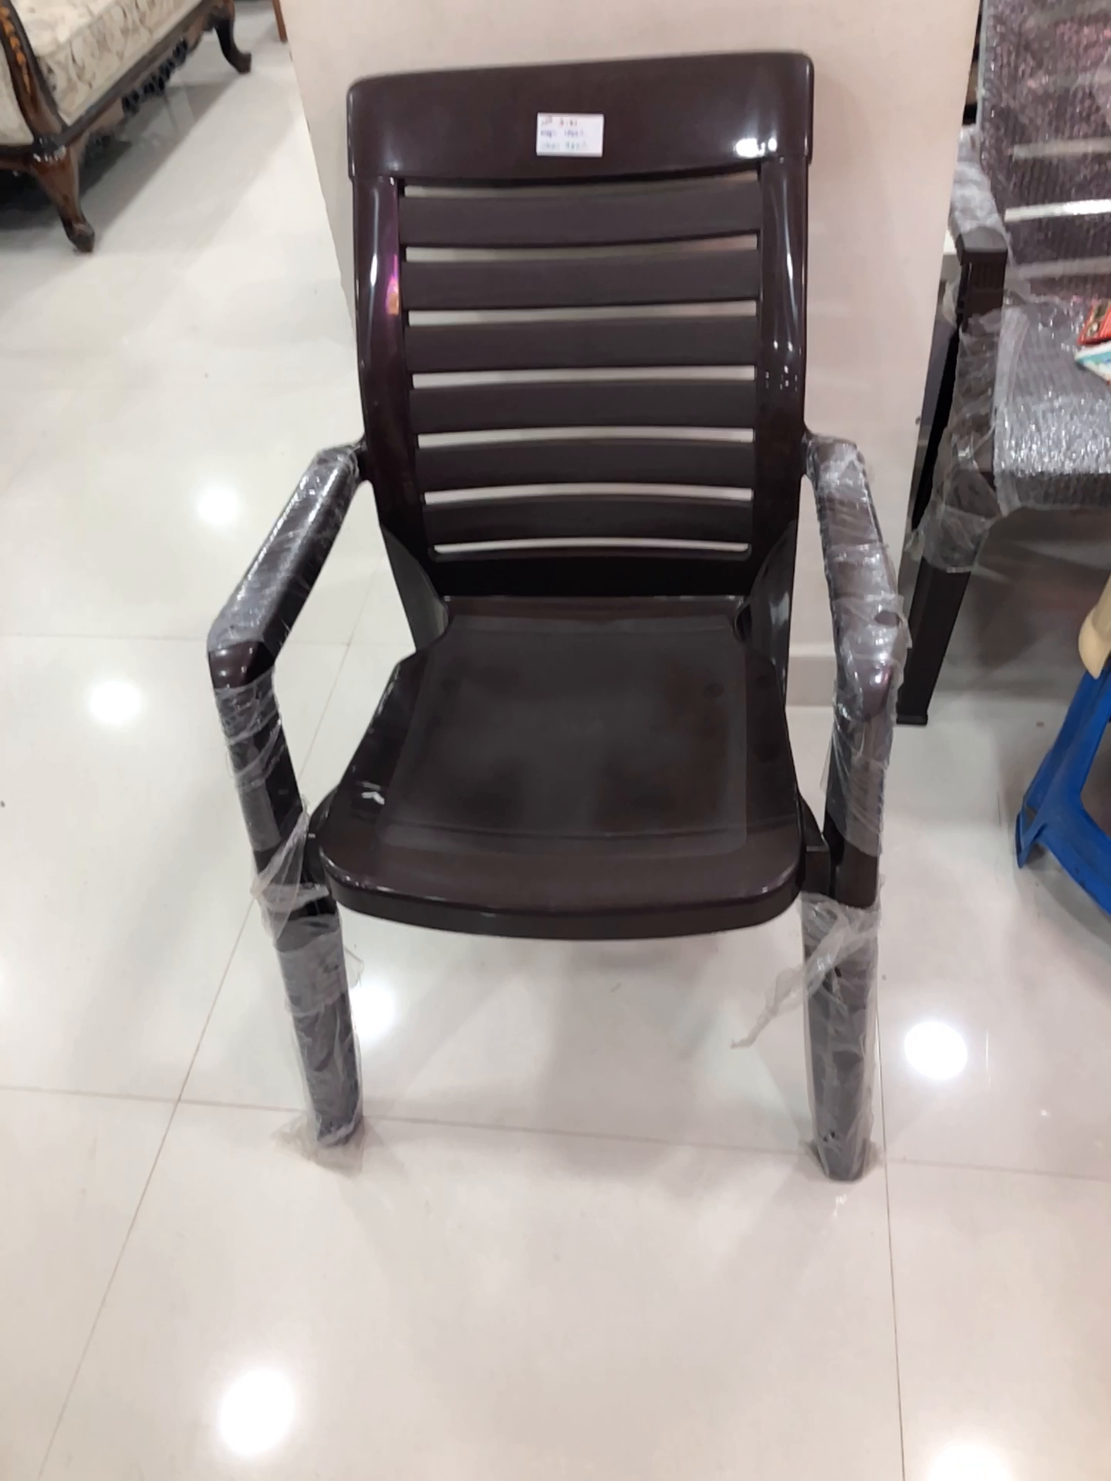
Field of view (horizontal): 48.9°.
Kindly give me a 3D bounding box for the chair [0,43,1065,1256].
[{"bbox_3d":[0.013,-0.060,1.255,0.640,1.004,0.675,2,42,7],"label":"chair"}]
